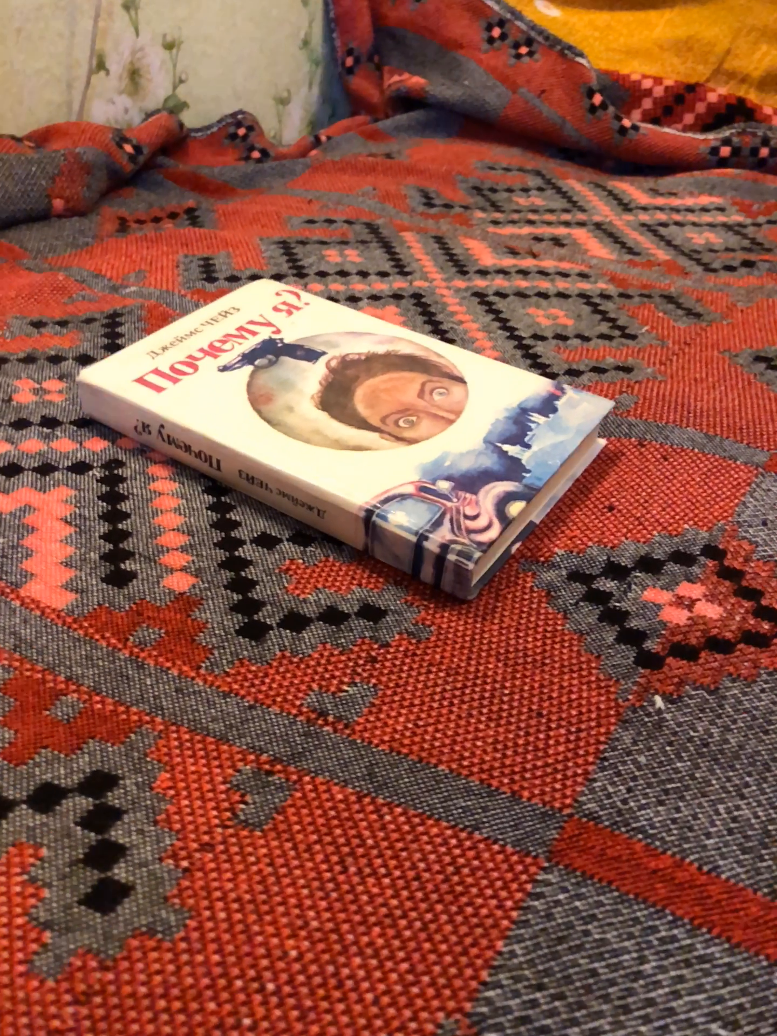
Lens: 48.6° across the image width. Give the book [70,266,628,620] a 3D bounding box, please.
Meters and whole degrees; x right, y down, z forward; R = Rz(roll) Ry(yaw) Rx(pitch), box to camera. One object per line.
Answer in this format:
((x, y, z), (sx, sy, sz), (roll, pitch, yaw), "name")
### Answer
((-0.016, -0.049, 0.385), (0.204, 0.029, 0.134), (25, 44, 22), "book")
